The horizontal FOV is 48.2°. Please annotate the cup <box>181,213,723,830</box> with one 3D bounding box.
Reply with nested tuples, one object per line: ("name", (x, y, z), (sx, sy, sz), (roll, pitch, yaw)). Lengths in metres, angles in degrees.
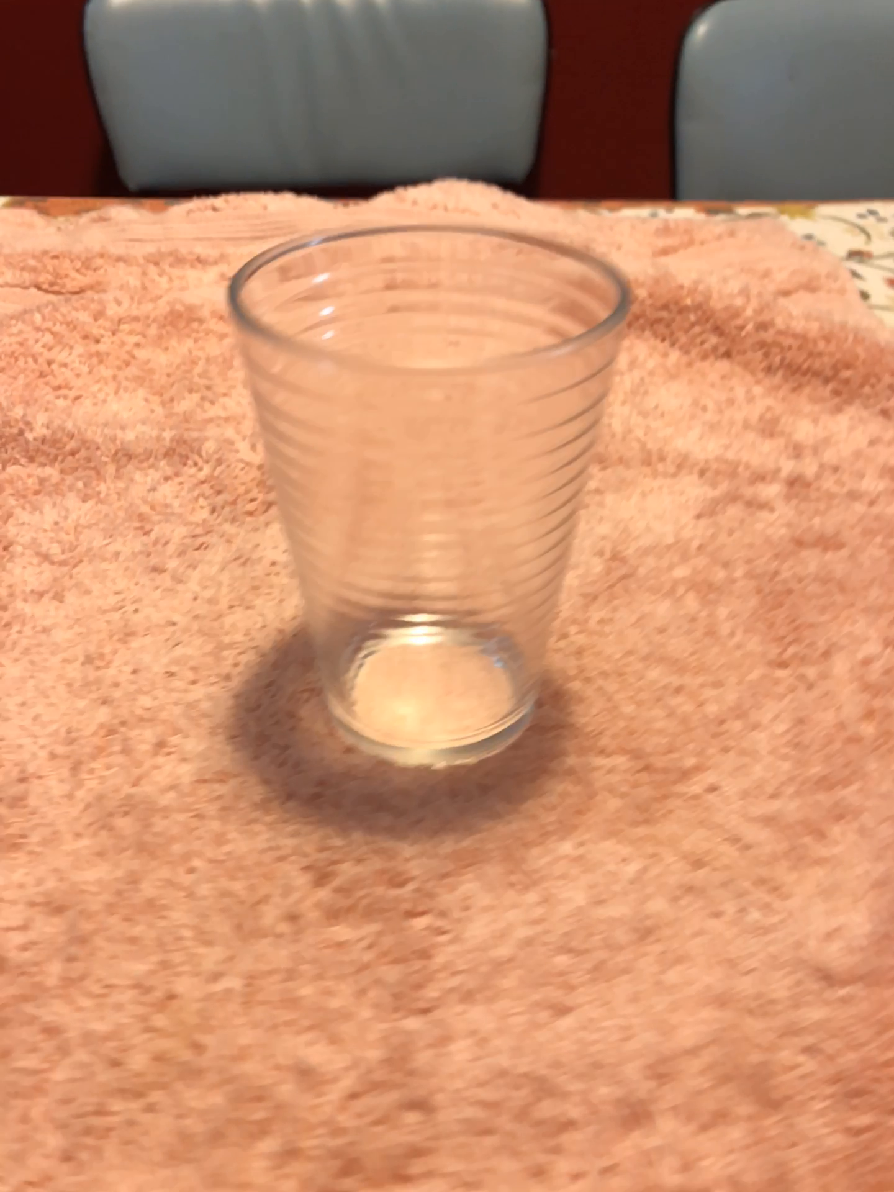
("cup", (-0.004, -0.018, 0.204), (0.080, 0.089, 0.081), (0, 37, 0))
